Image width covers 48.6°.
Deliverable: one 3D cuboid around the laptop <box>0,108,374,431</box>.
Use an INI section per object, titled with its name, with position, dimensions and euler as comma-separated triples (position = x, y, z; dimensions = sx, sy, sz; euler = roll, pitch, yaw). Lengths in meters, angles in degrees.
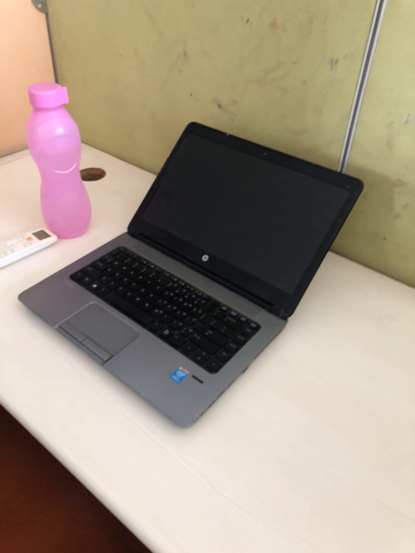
[laptop]
position = -0.023, -0.062, 0.661
dimensions = 0.327, 0.148, 0.407
euler = 28, 50, 29
